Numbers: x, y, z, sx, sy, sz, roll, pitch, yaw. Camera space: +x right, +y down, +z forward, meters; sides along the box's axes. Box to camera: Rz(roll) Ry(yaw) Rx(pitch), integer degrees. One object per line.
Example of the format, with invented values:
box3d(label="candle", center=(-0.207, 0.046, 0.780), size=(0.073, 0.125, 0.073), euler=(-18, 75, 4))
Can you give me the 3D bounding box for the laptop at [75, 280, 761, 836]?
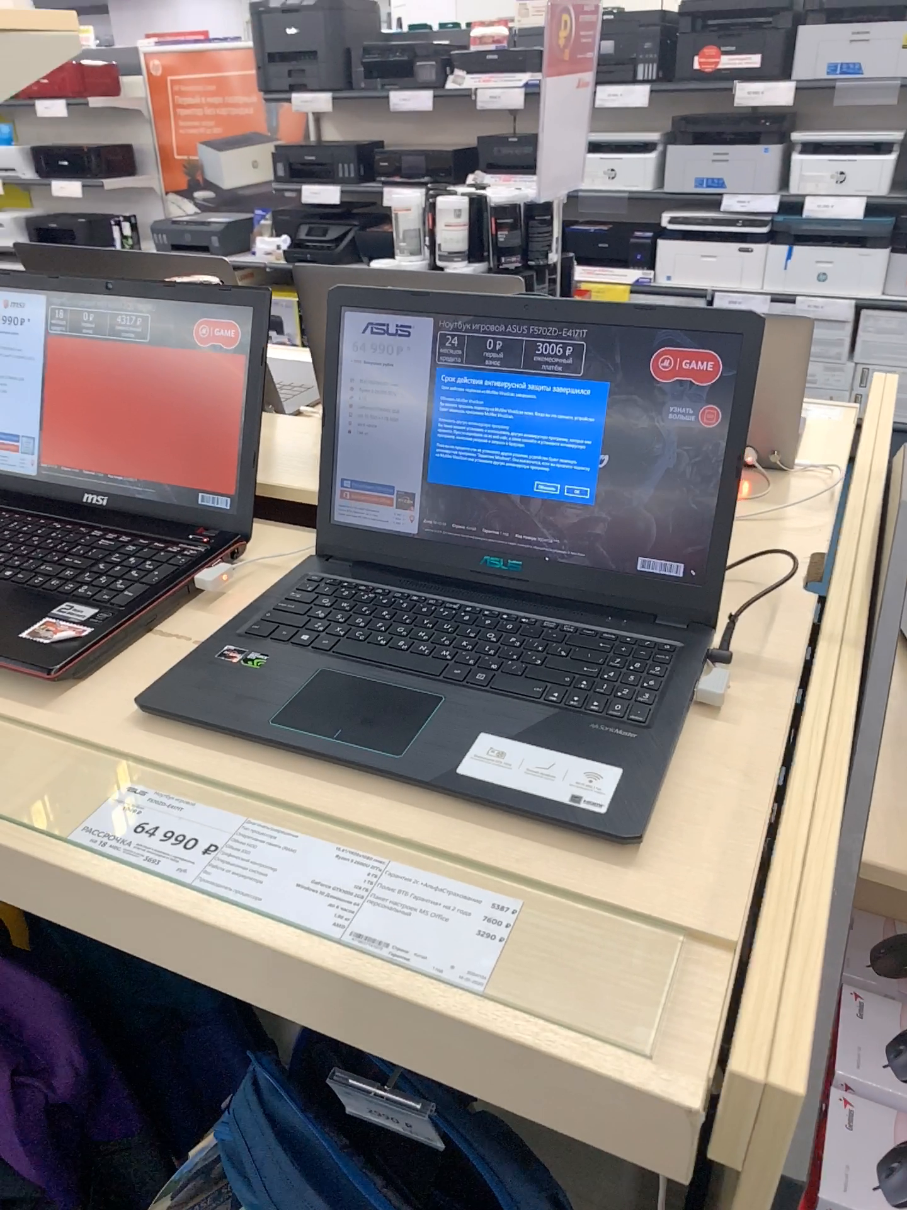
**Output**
box3d(label="laptop", center=(0.001, -0.075, 0.667), size=(0.358, 0.222, 0.319), euler=(11, 32, 21))
